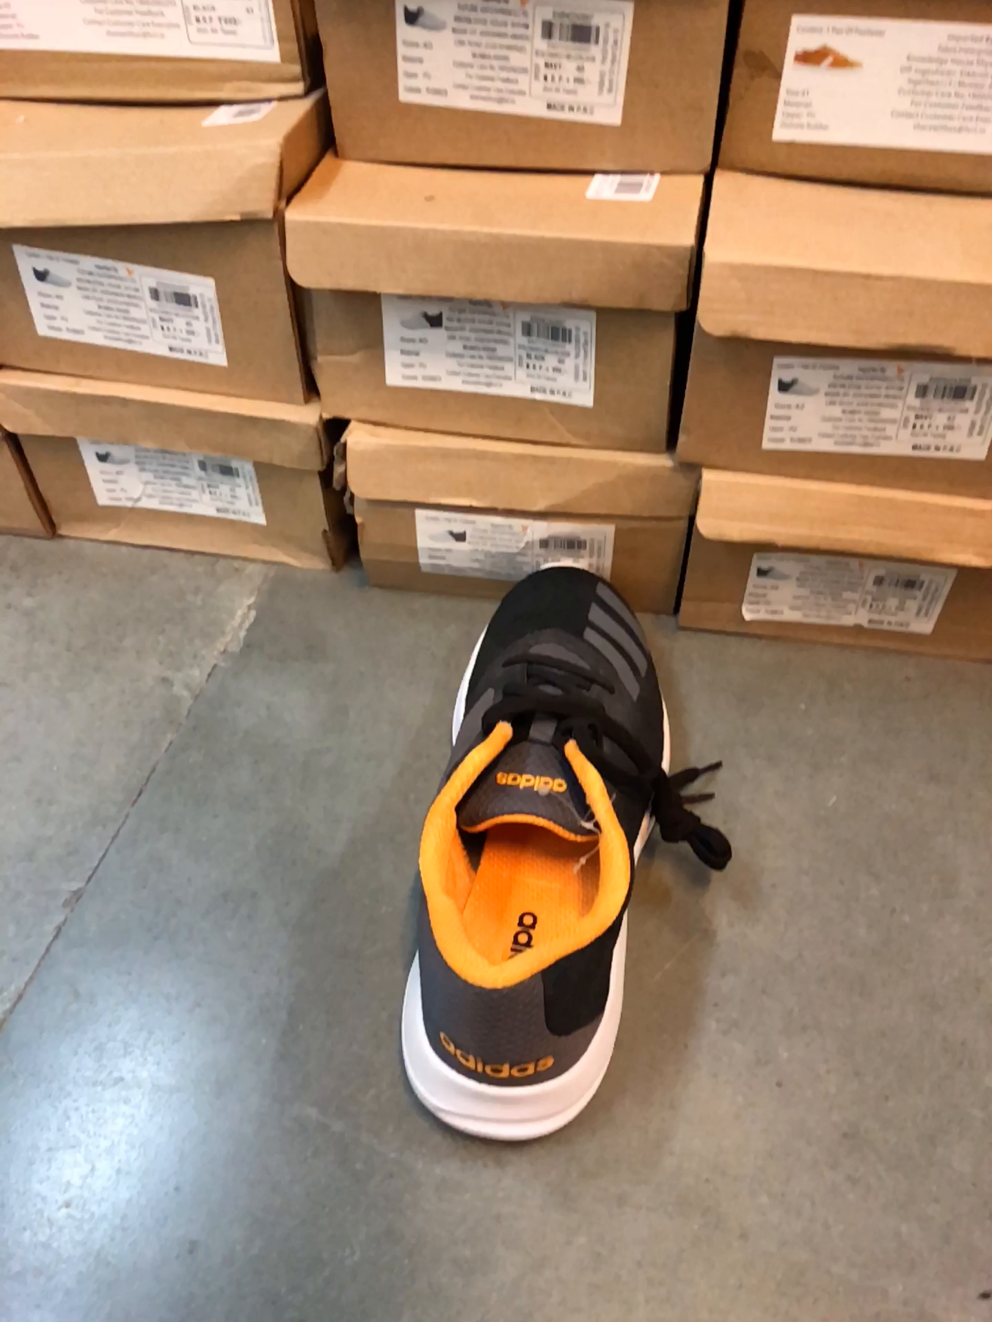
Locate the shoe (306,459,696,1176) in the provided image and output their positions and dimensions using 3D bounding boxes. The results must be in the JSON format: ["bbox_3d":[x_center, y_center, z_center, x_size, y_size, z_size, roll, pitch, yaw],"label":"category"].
[{"bbox_3d":[0.017,0.050,0.468,0.109,0.116,0.272,7,49,6],"label":"shoe"}]
